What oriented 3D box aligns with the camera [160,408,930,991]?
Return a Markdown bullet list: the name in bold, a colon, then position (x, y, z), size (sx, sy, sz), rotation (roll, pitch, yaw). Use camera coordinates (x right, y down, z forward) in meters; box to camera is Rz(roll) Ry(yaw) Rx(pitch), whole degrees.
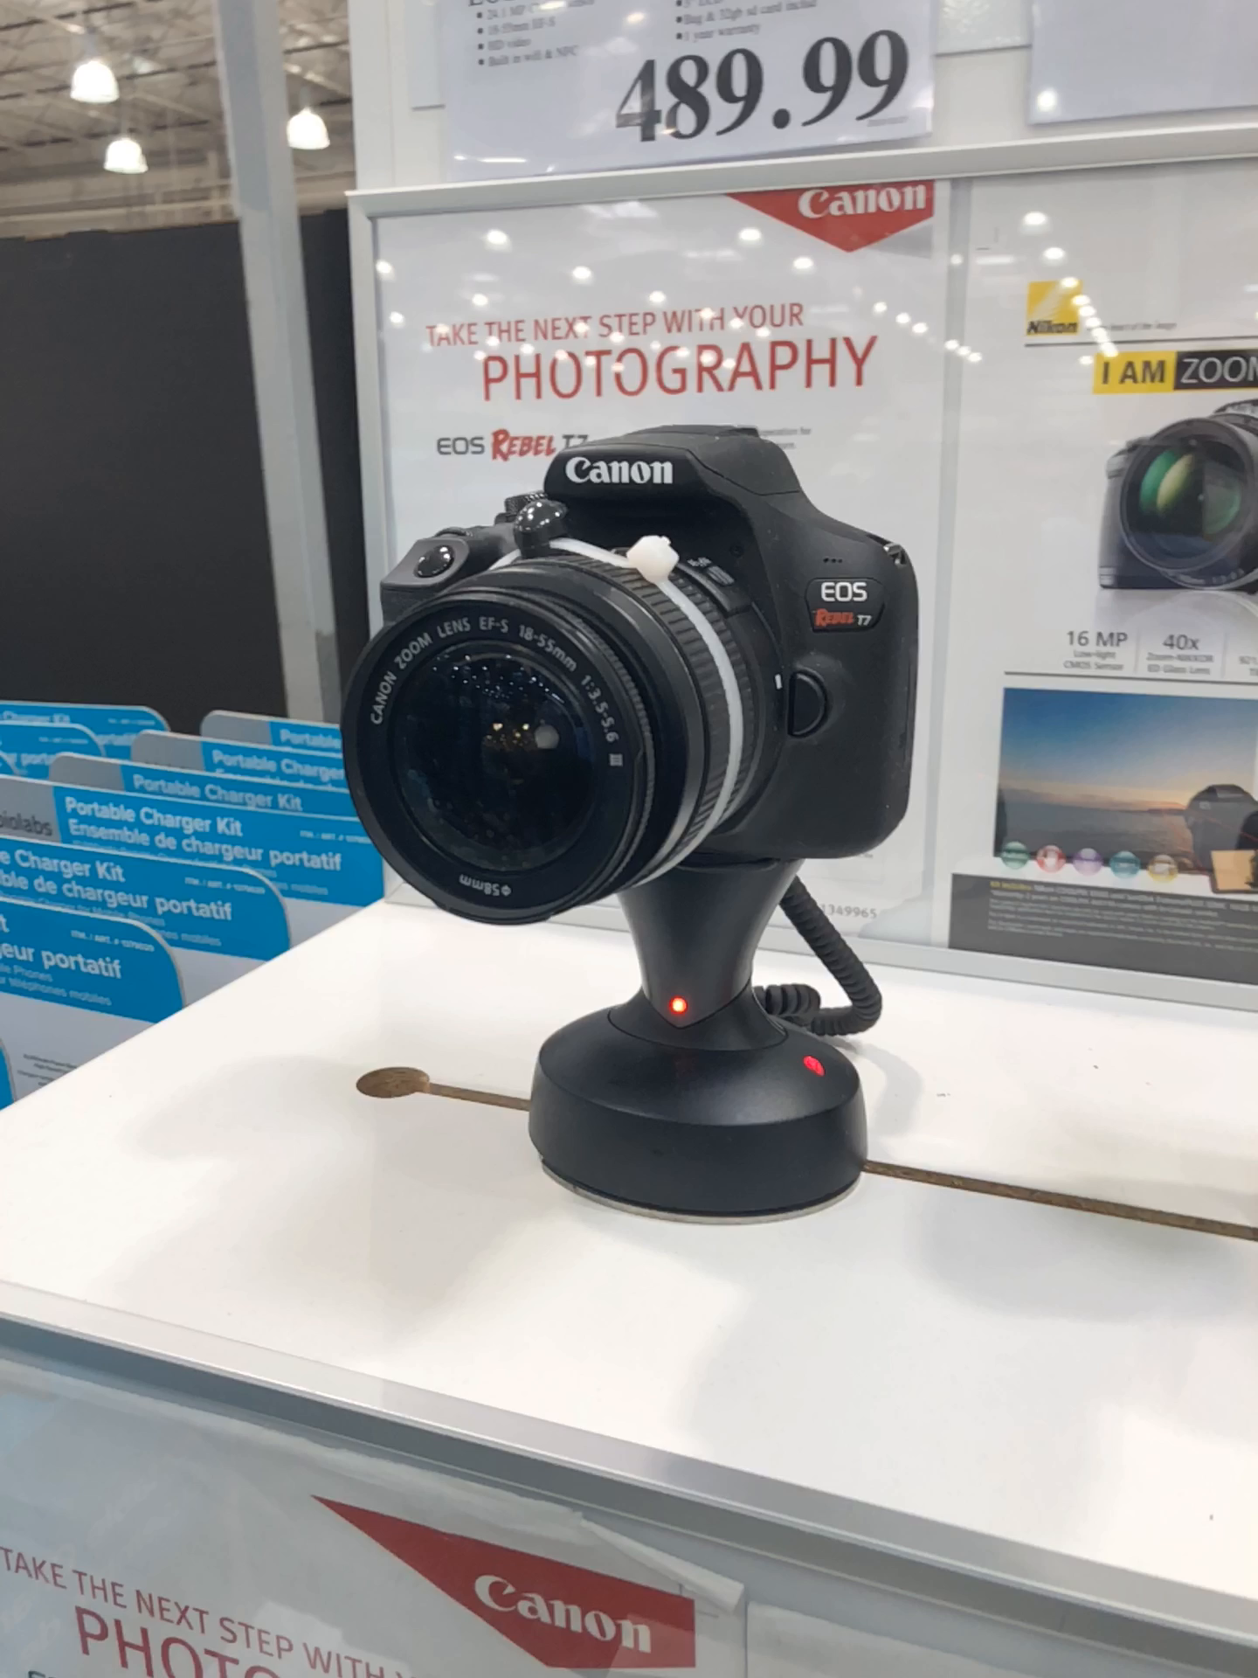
- **camera**: position (-0.008, -0.041, 0.313), size (0.130, 0.100, 0.120), rotation (4, 15, 18)
